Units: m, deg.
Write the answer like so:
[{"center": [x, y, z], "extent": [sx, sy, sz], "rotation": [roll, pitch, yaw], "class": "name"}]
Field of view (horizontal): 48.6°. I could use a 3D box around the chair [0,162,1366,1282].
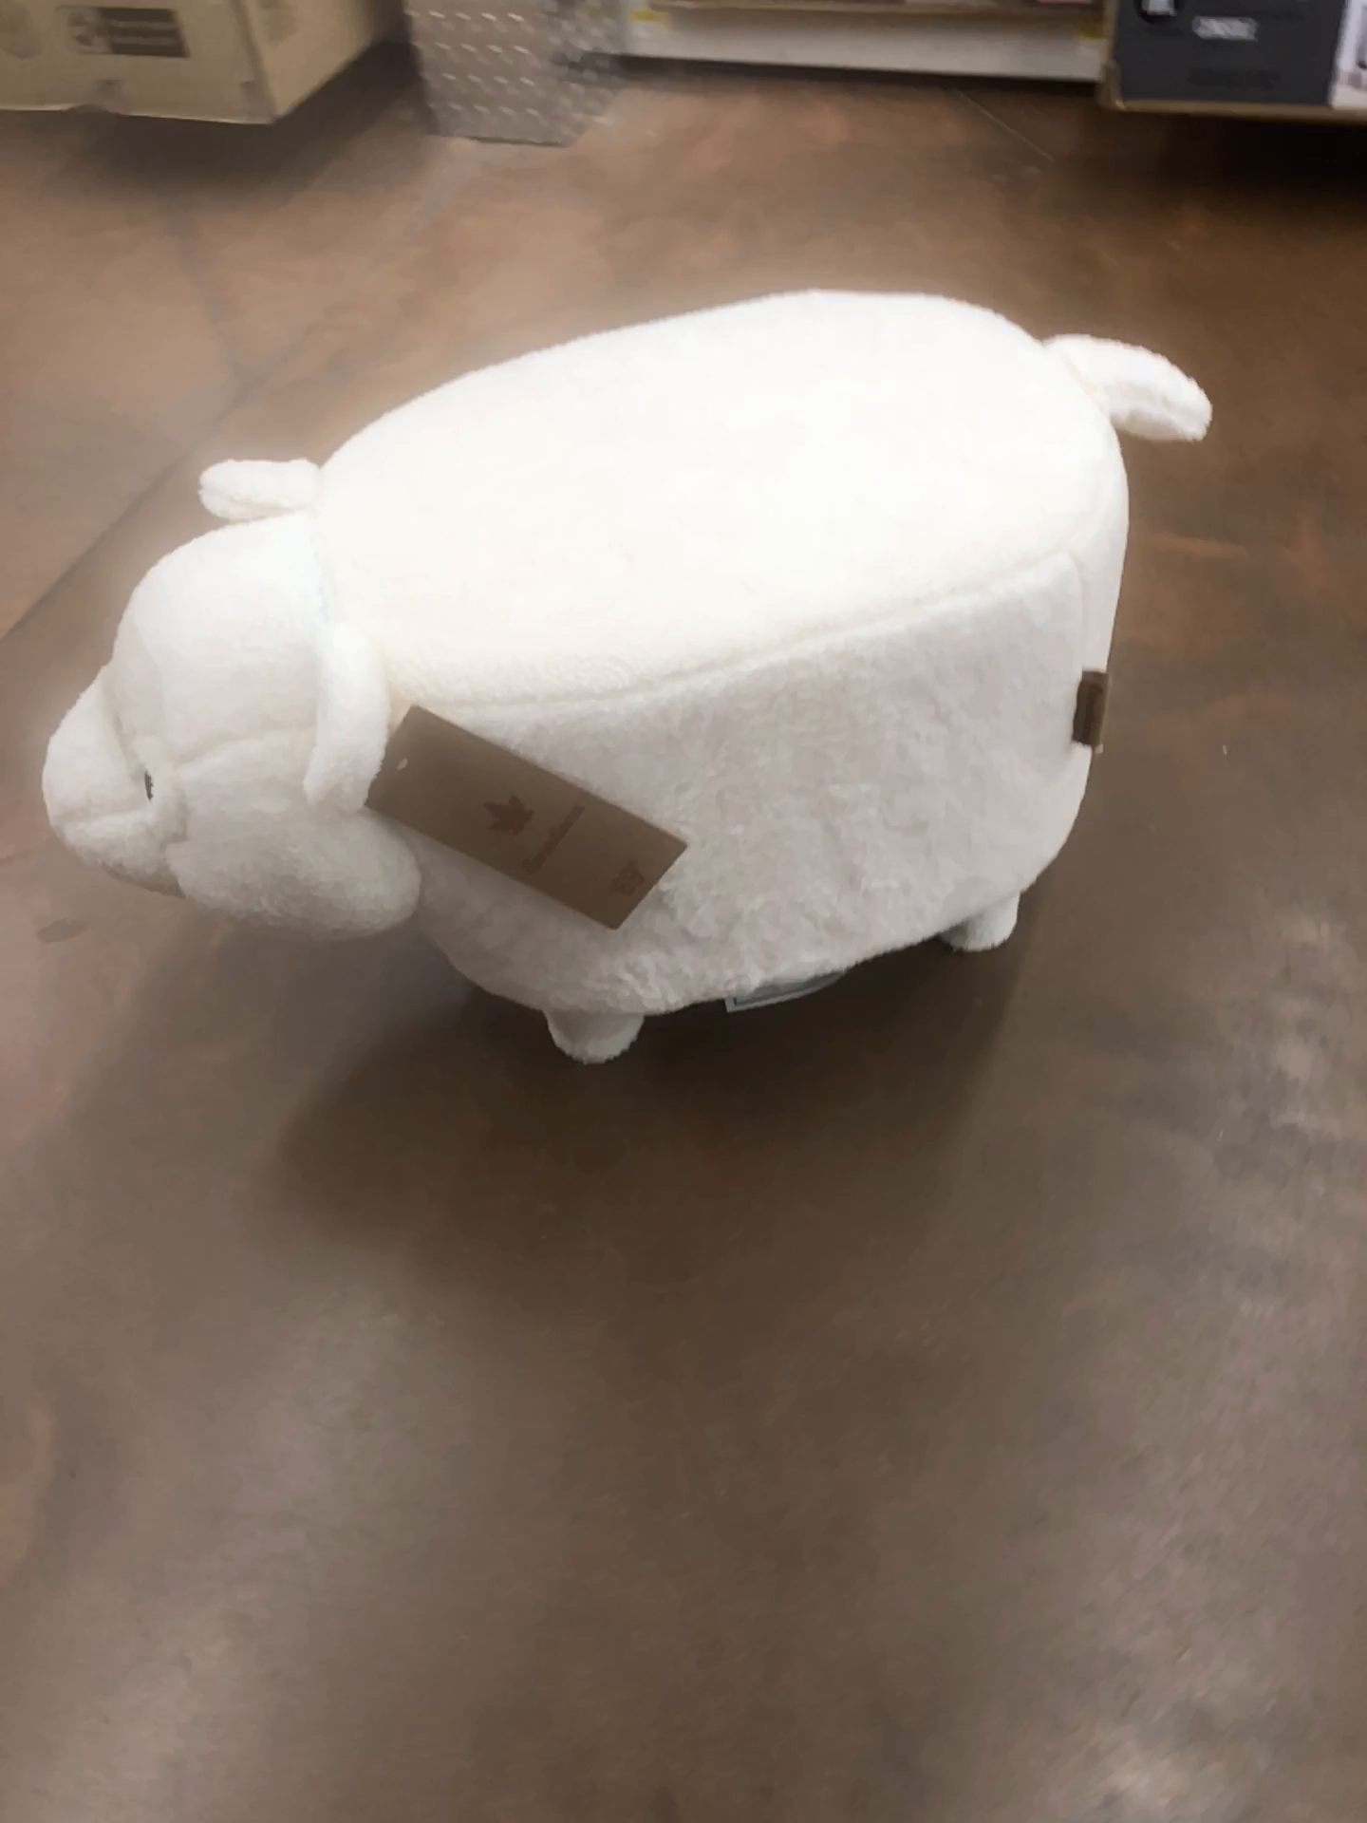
[{"center": [-0.031, -0.127, 0.923], "extent": [0.630, 0.349, 0.441], "rotation": [-13, 49, -4], "class": "chair"}]
